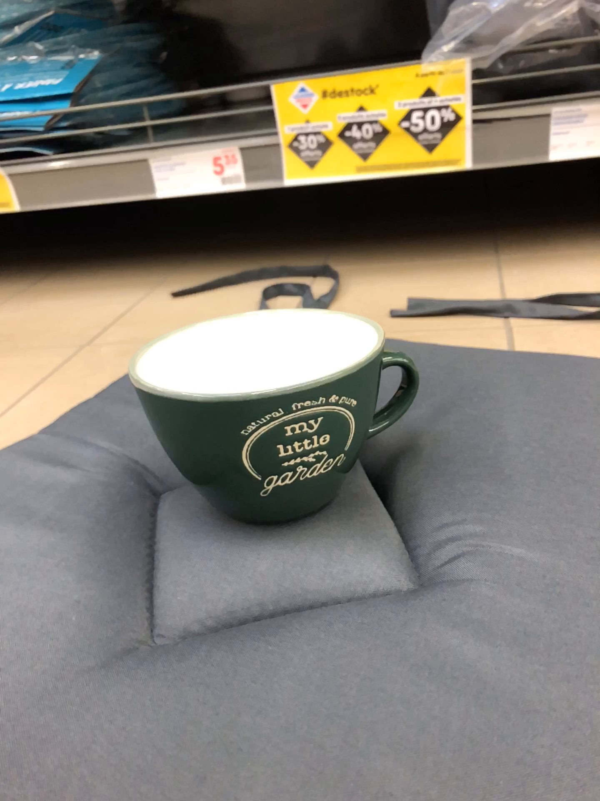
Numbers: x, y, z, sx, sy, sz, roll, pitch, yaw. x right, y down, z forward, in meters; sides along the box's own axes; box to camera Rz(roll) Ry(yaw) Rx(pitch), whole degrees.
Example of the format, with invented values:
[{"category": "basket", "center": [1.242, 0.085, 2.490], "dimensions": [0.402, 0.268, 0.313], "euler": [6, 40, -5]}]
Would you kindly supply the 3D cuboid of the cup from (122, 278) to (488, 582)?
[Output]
[{"category": "cup", "center": [-0.005, 0.001, 0.305], "dimensions": [0.130, 0.060, 0.120], "euler": [-7, 27, 3]}]
